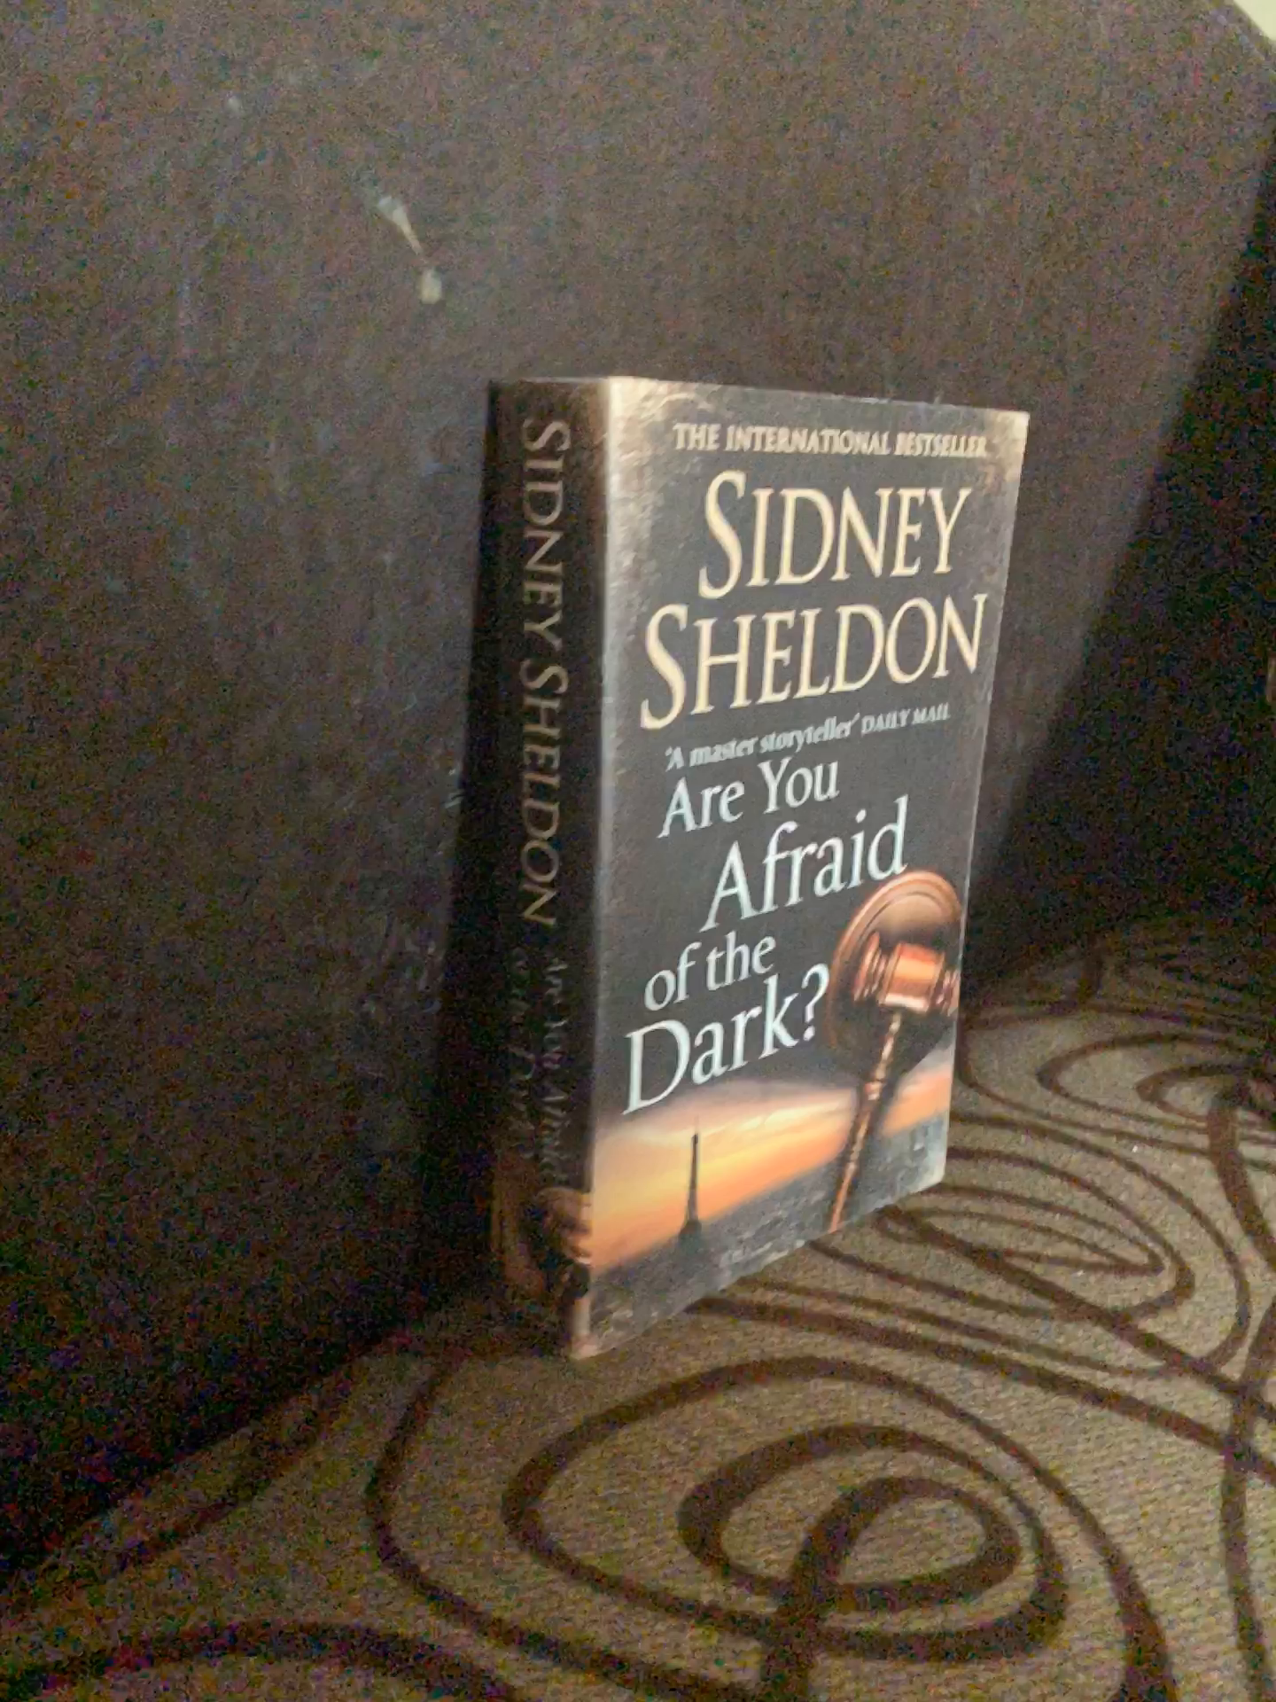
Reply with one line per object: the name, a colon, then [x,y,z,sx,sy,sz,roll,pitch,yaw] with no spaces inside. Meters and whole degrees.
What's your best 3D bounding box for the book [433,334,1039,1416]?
book: [0.022,0.000,0.270,0.040,0.179,0.120,16,18,42]
